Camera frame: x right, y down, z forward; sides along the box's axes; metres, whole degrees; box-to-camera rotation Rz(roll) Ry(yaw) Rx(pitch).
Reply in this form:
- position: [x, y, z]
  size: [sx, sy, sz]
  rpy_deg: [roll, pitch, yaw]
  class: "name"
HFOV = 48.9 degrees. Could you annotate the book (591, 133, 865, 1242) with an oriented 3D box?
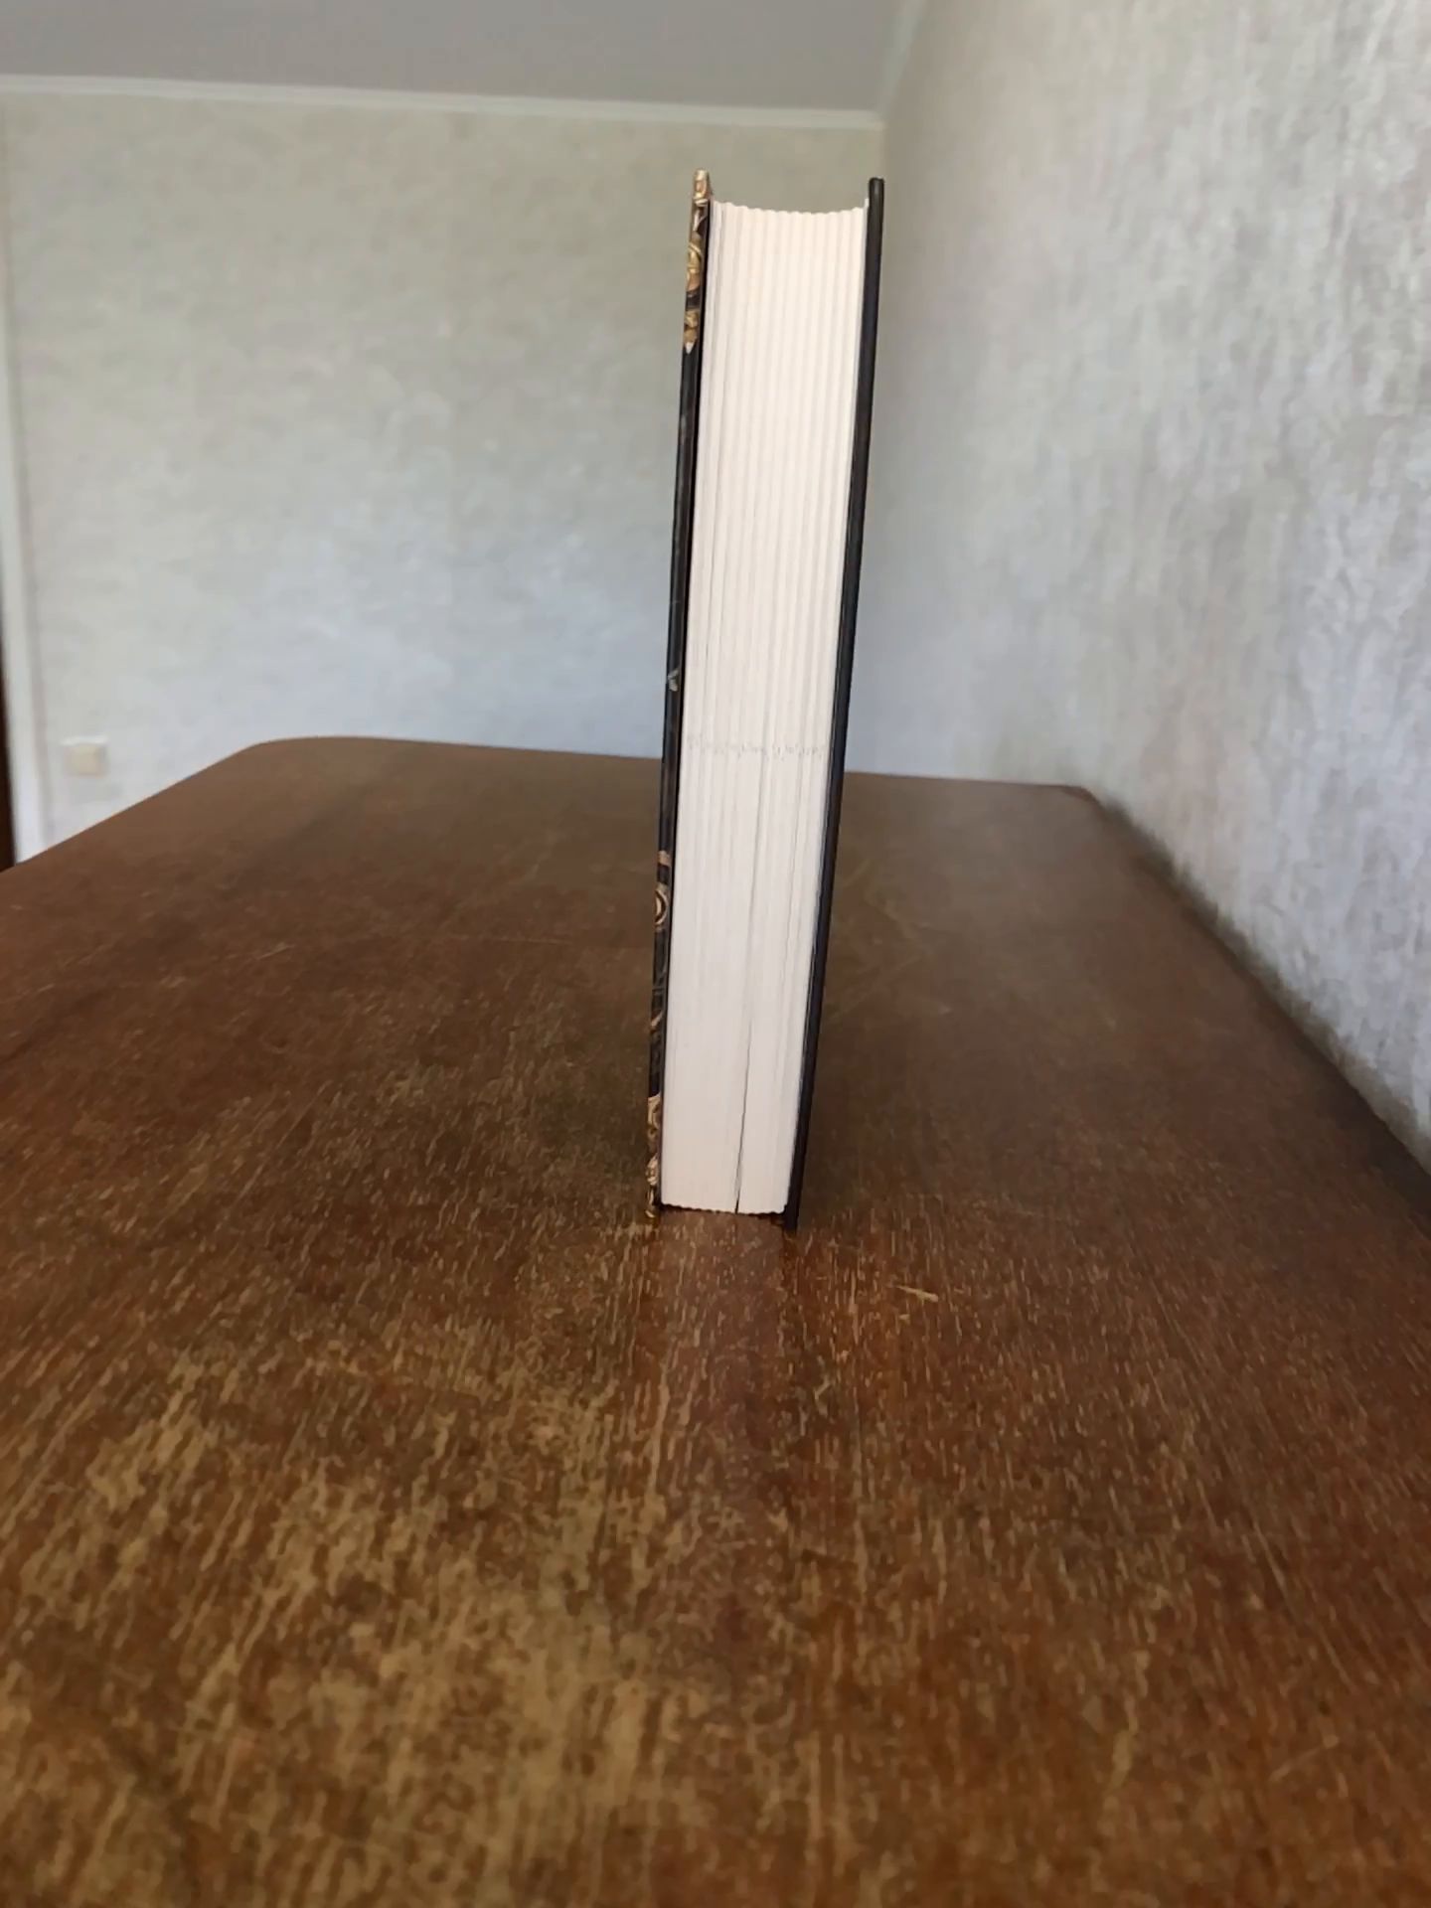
- position: [0.005, -0.069, 0.410]
  size: [0.041, 0.228, 0.167]
  rpy_deg: [5, 16, 2]
  class: "book"
